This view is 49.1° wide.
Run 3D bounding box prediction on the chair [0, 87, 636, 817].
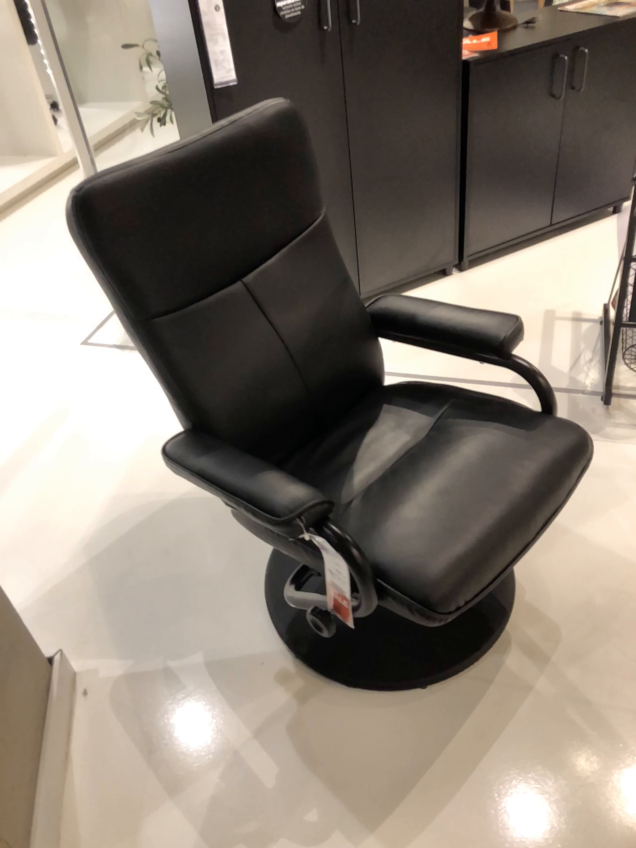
[{"bbox_3d":[0.063,0.010,1.340,0.733,0.992,0.693,27,50,35],"label":"chair"}]
